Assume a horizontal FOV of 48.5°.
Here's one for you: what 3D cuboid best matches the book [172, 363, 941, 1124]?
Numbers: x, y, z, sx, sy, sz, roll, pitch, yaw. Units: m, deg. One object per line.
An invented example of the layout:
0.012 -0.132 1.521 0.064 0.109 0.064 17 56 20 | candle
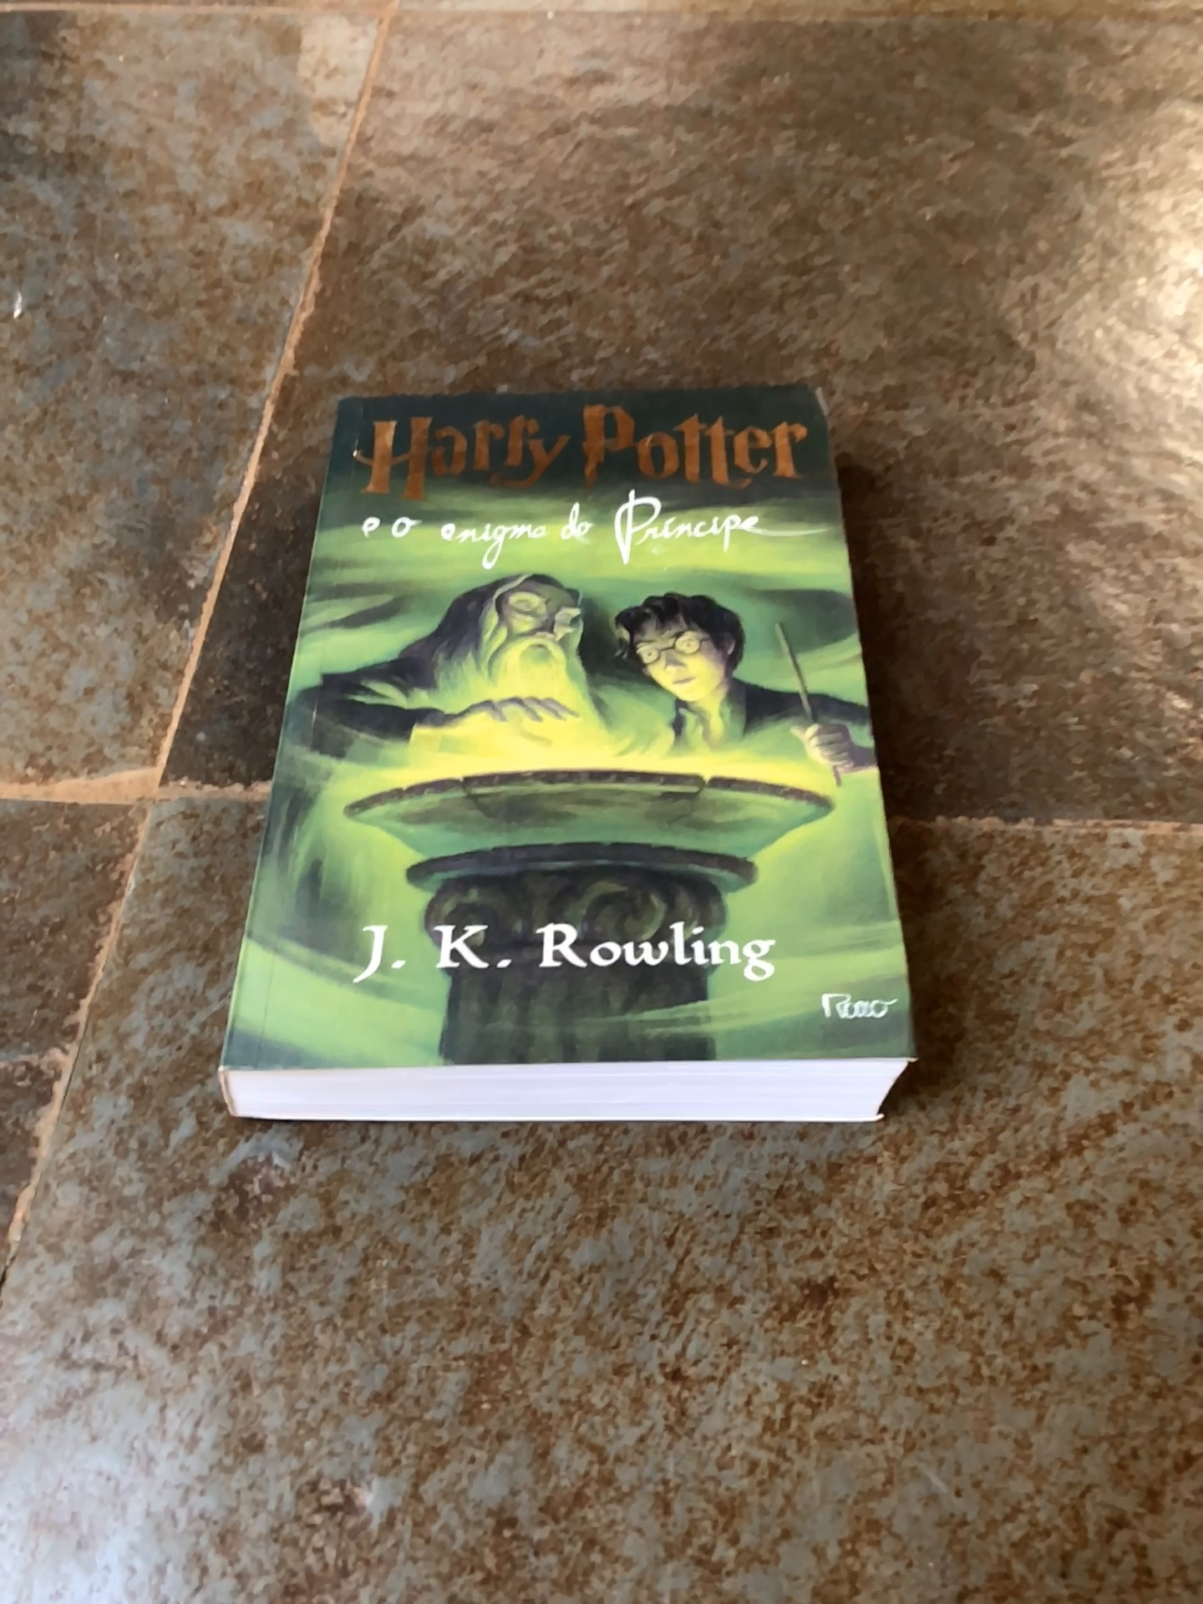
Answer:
-0.007 -0.027 0.315 0.142 0.030 0.201 0 56 1 | book
